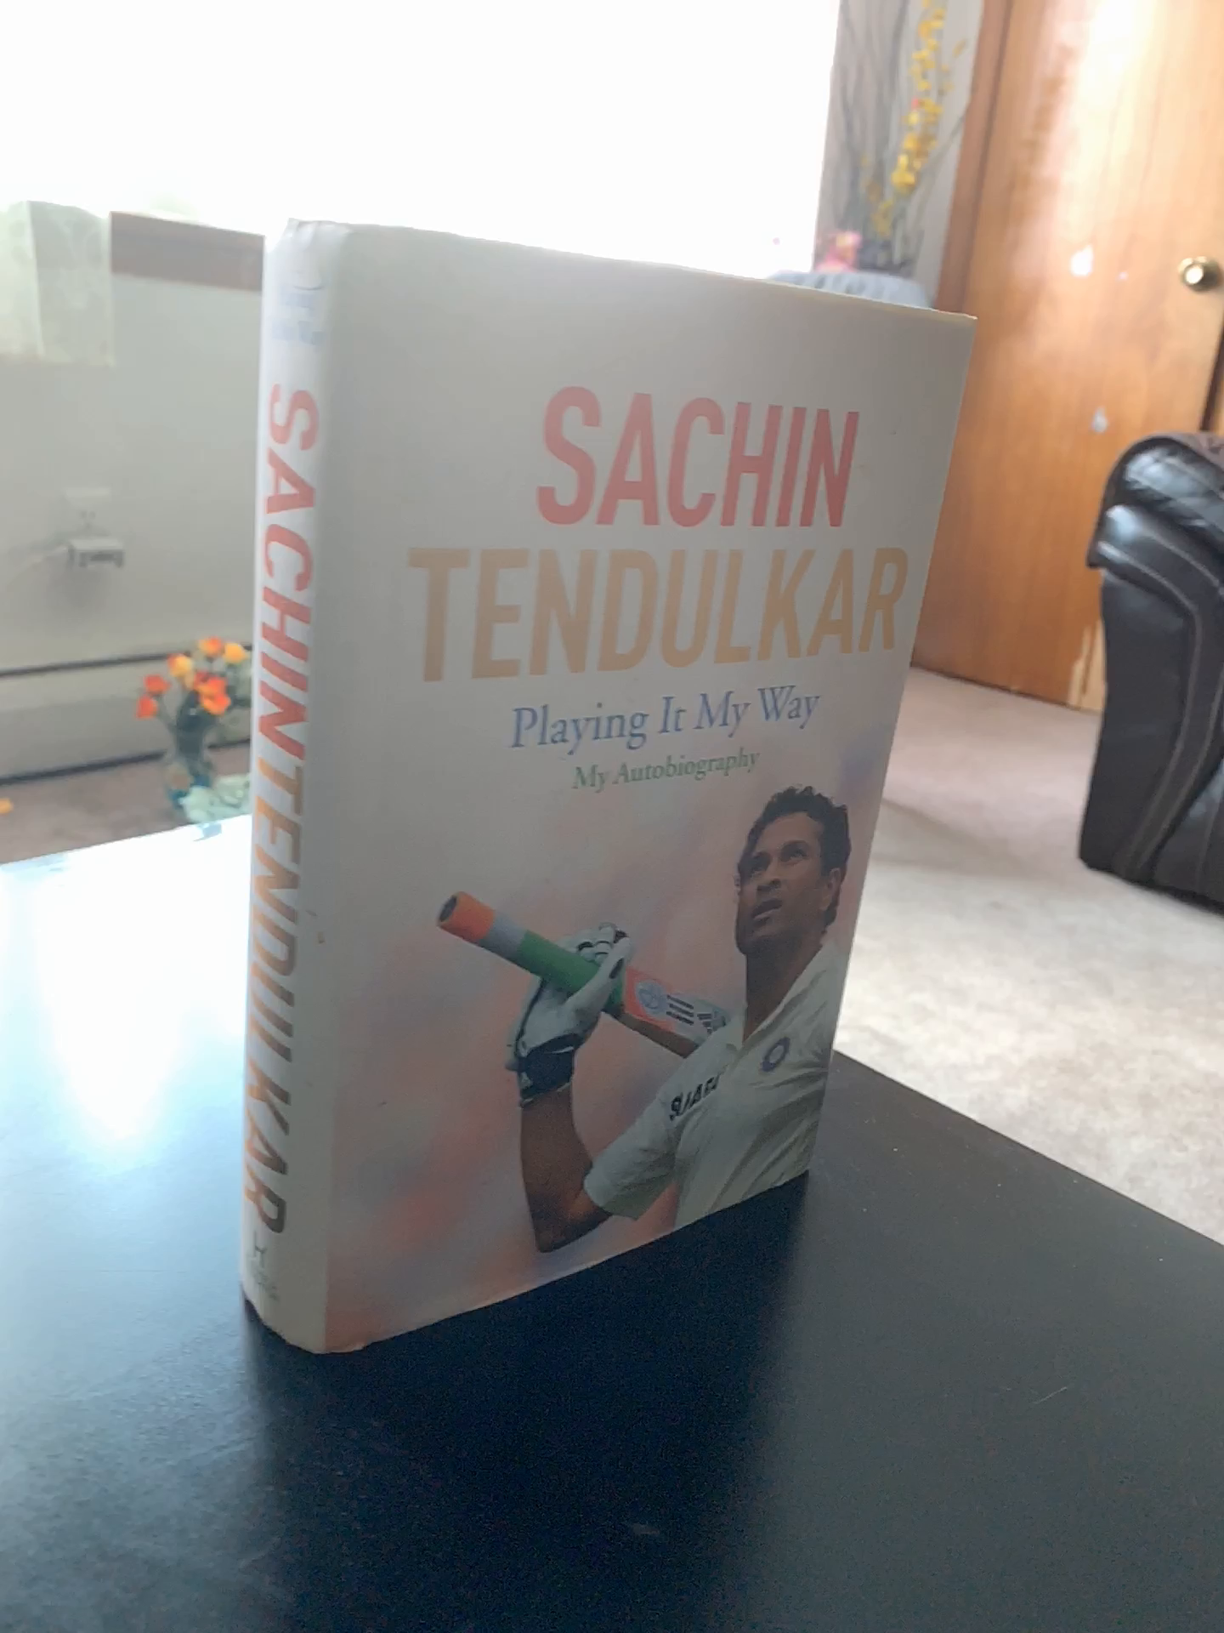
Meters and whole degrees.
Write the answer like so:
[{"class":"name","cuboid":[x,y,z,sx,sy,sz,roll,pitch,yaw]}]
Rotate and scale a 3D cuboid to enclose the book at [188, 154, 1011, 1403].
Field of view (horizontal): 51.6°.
[{"class":"book","cuboid":[-0.004,-0.009,0.303,0.170,0.239,0.060,-9,23,-36]}]
